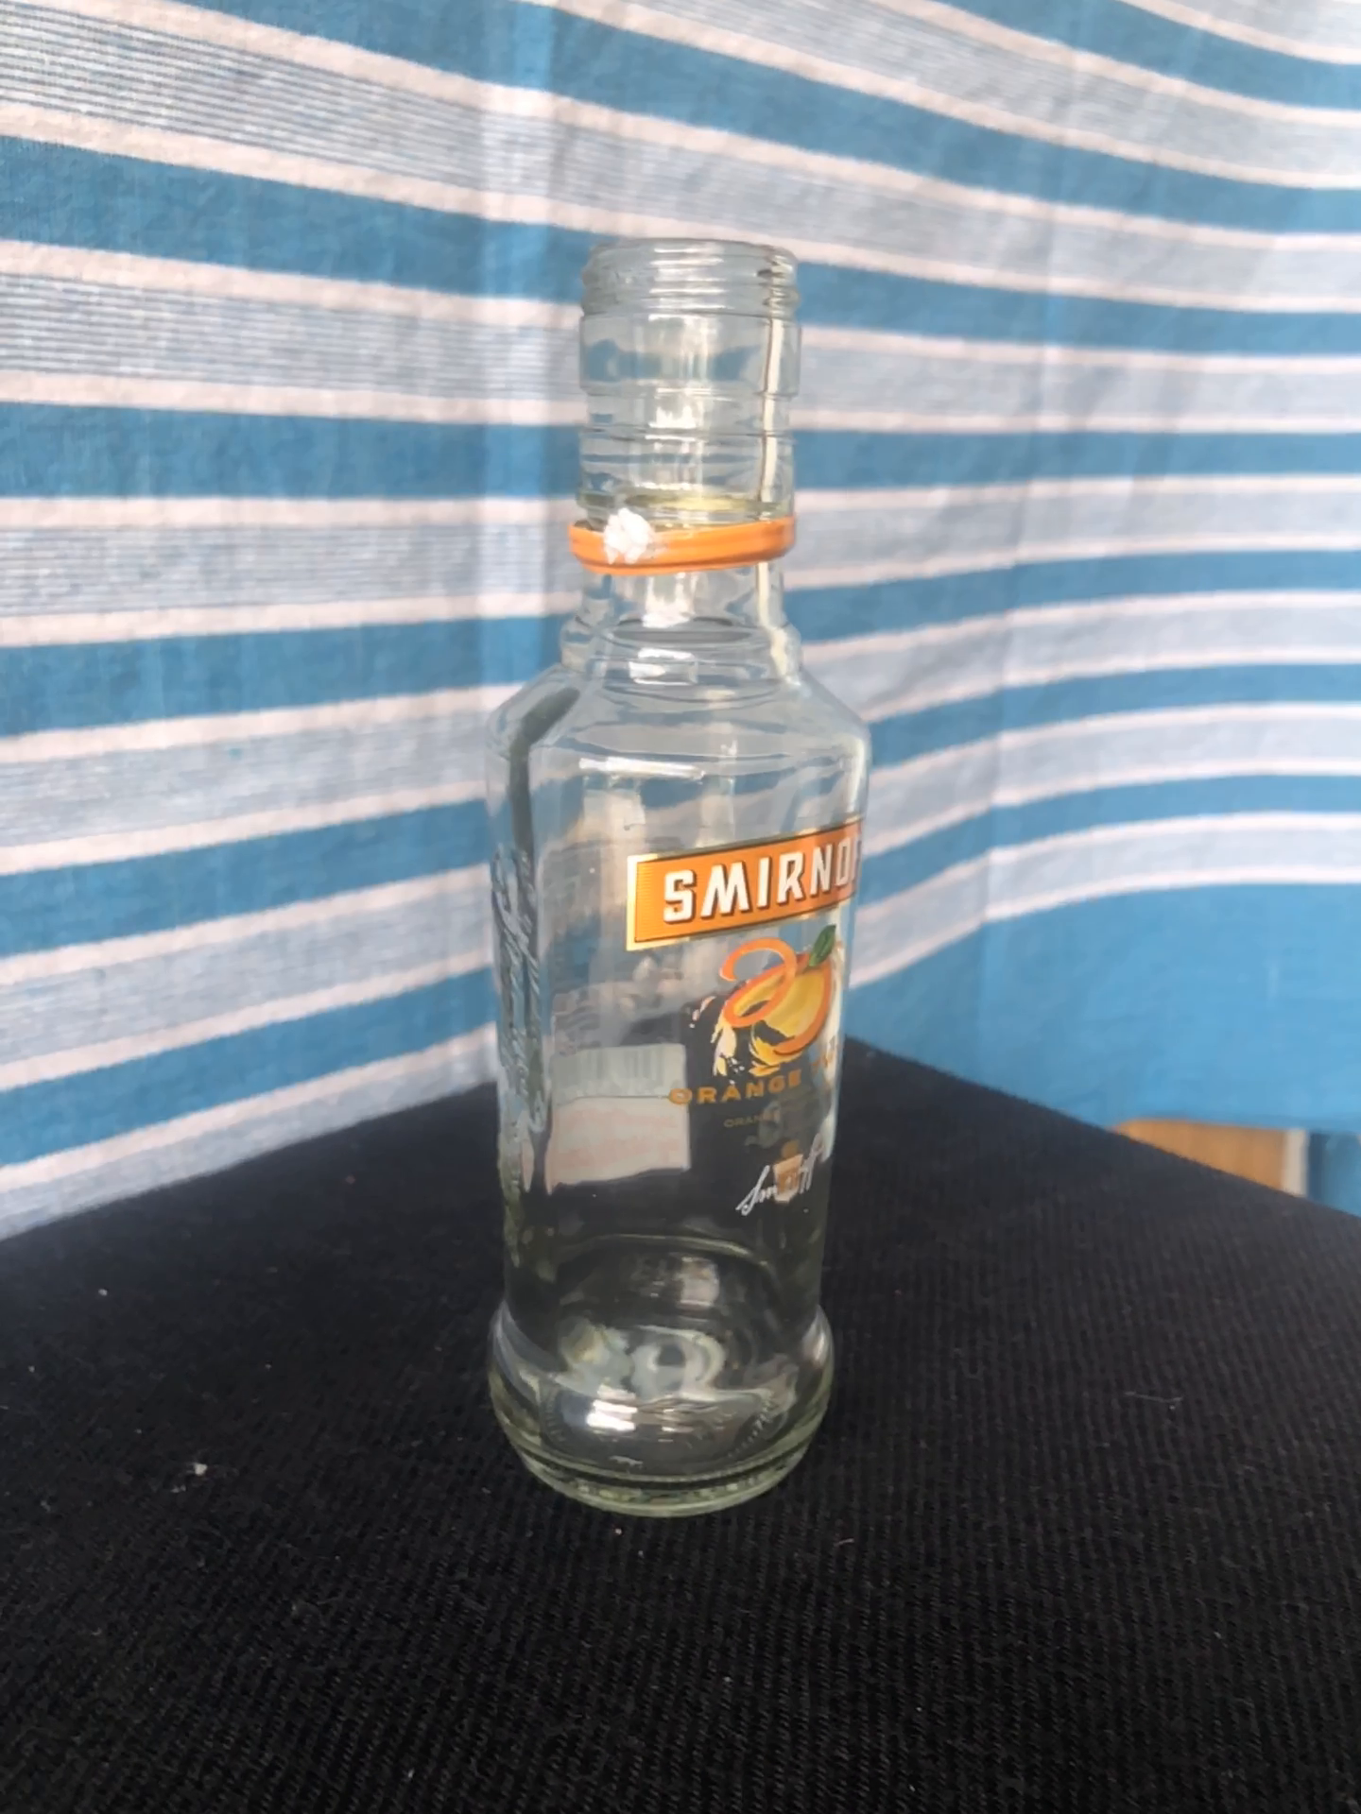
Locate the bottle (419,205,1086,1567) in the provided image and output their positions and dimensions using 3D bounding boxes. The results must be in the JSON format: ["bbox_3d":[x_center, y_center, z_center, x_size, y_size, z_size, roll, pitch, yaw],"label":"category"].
[{"bbox_3d":[0.005,-0.002,0.219,0.060,0.169,0.050,-6,20,-34],"label":"bottle"}]
